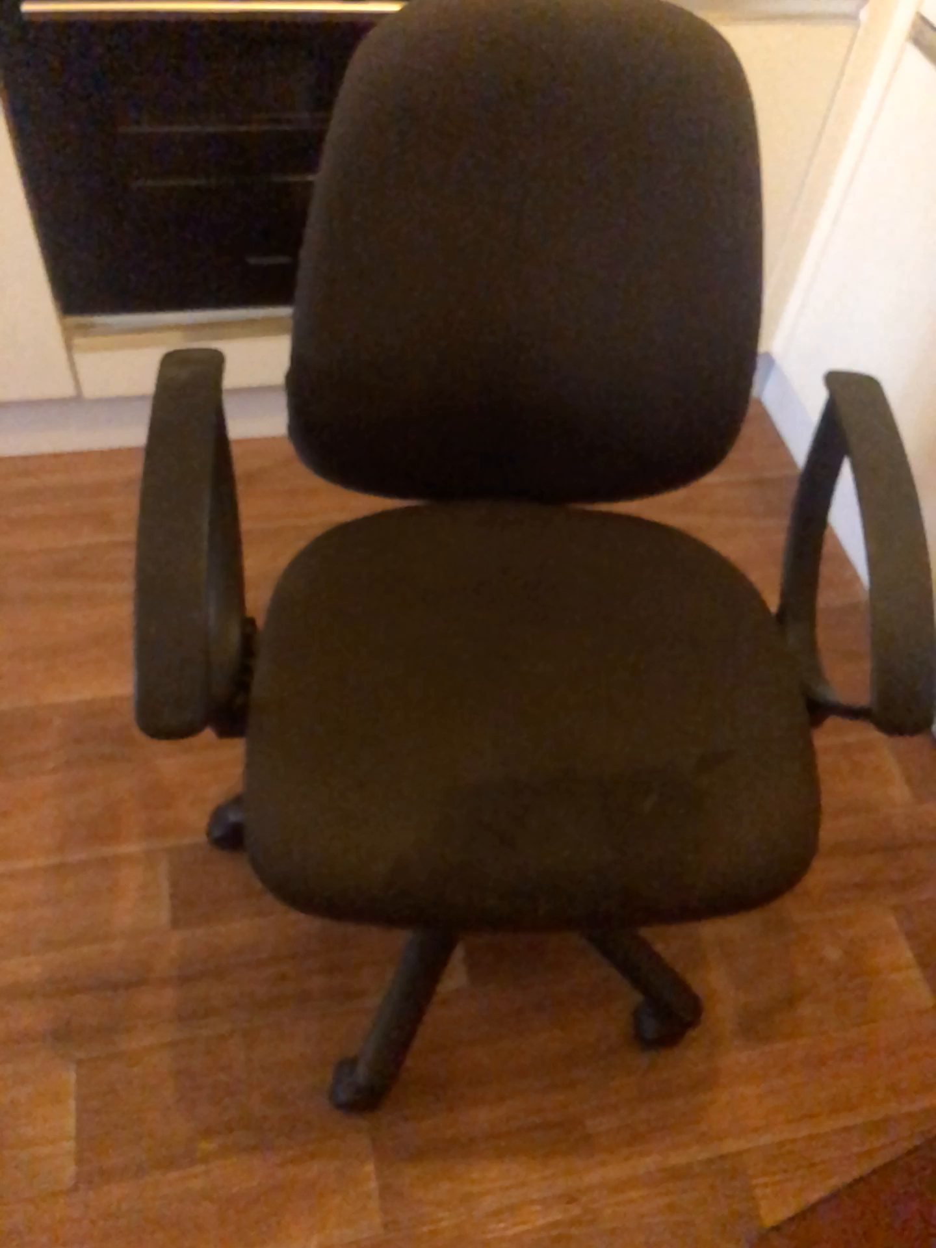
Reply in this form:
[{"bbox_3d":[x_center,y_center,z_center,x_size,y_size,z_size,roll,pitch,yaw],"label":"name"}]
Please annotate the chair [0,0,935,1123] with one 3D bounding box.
[{"bbox_3d":[0.052,0.002,0.957,0.673,0.816,0.655,3,52,-4],"label":"chair"}]
